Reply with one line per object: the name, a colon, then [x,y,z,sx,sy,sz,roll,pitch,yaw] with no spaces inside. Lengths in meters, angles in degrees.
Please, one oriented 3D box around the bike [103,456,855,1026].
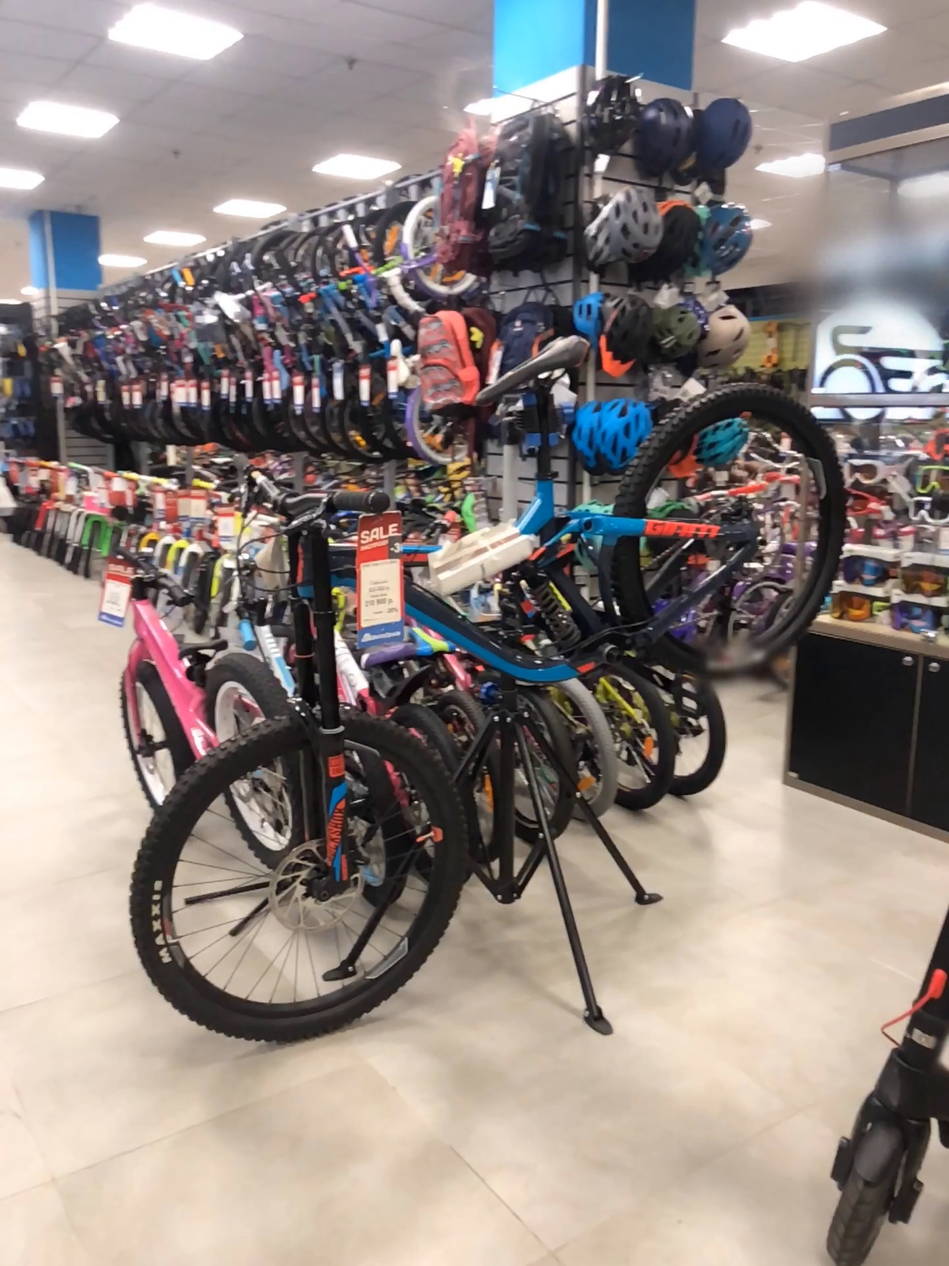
bike: [-0.023,0.097,2.163,1.524,0.182,0.660,-32,23,-16]
